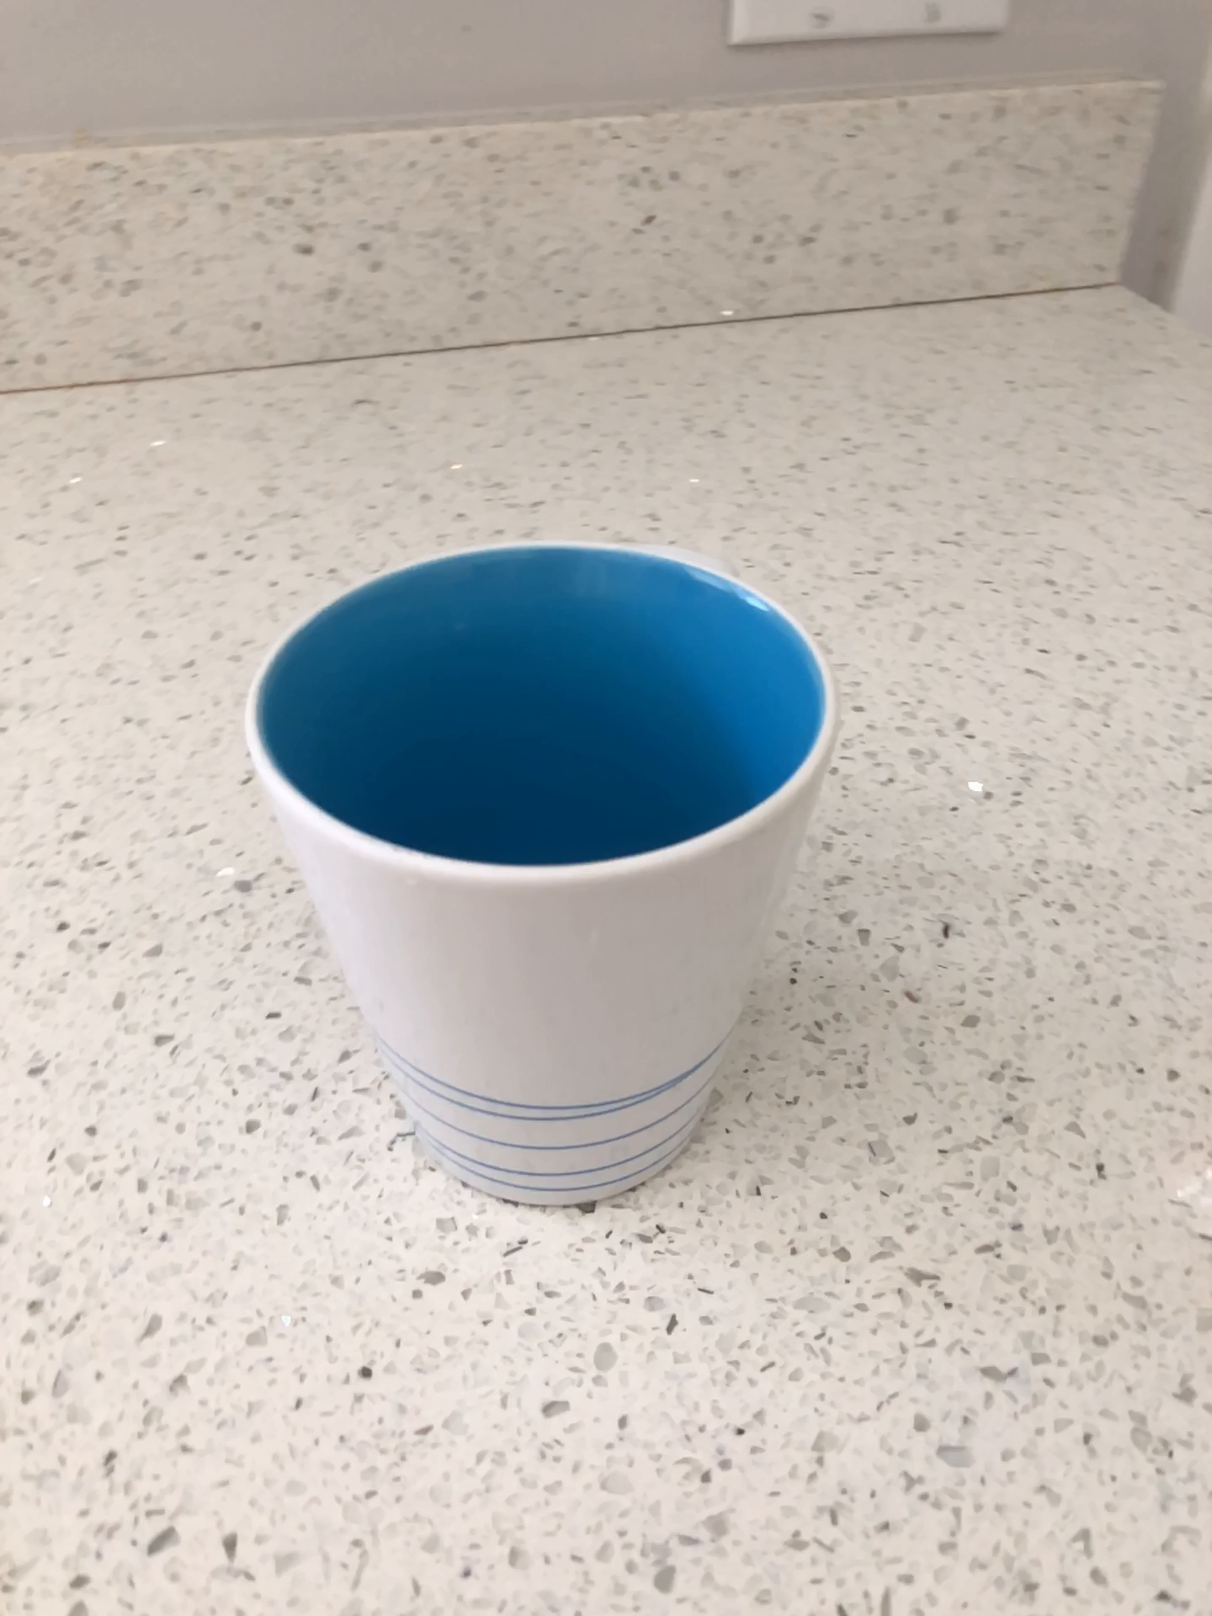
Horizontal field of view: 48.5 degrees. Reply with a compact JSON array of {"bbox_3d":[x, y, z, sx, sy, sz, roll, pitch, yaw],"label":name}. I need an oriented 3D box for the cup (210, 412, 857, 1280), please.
[{"bbox_3d":[-0.001,0.000,0.238,0.080,0.090,0.120,5,40,6],"label":"cup"}]
